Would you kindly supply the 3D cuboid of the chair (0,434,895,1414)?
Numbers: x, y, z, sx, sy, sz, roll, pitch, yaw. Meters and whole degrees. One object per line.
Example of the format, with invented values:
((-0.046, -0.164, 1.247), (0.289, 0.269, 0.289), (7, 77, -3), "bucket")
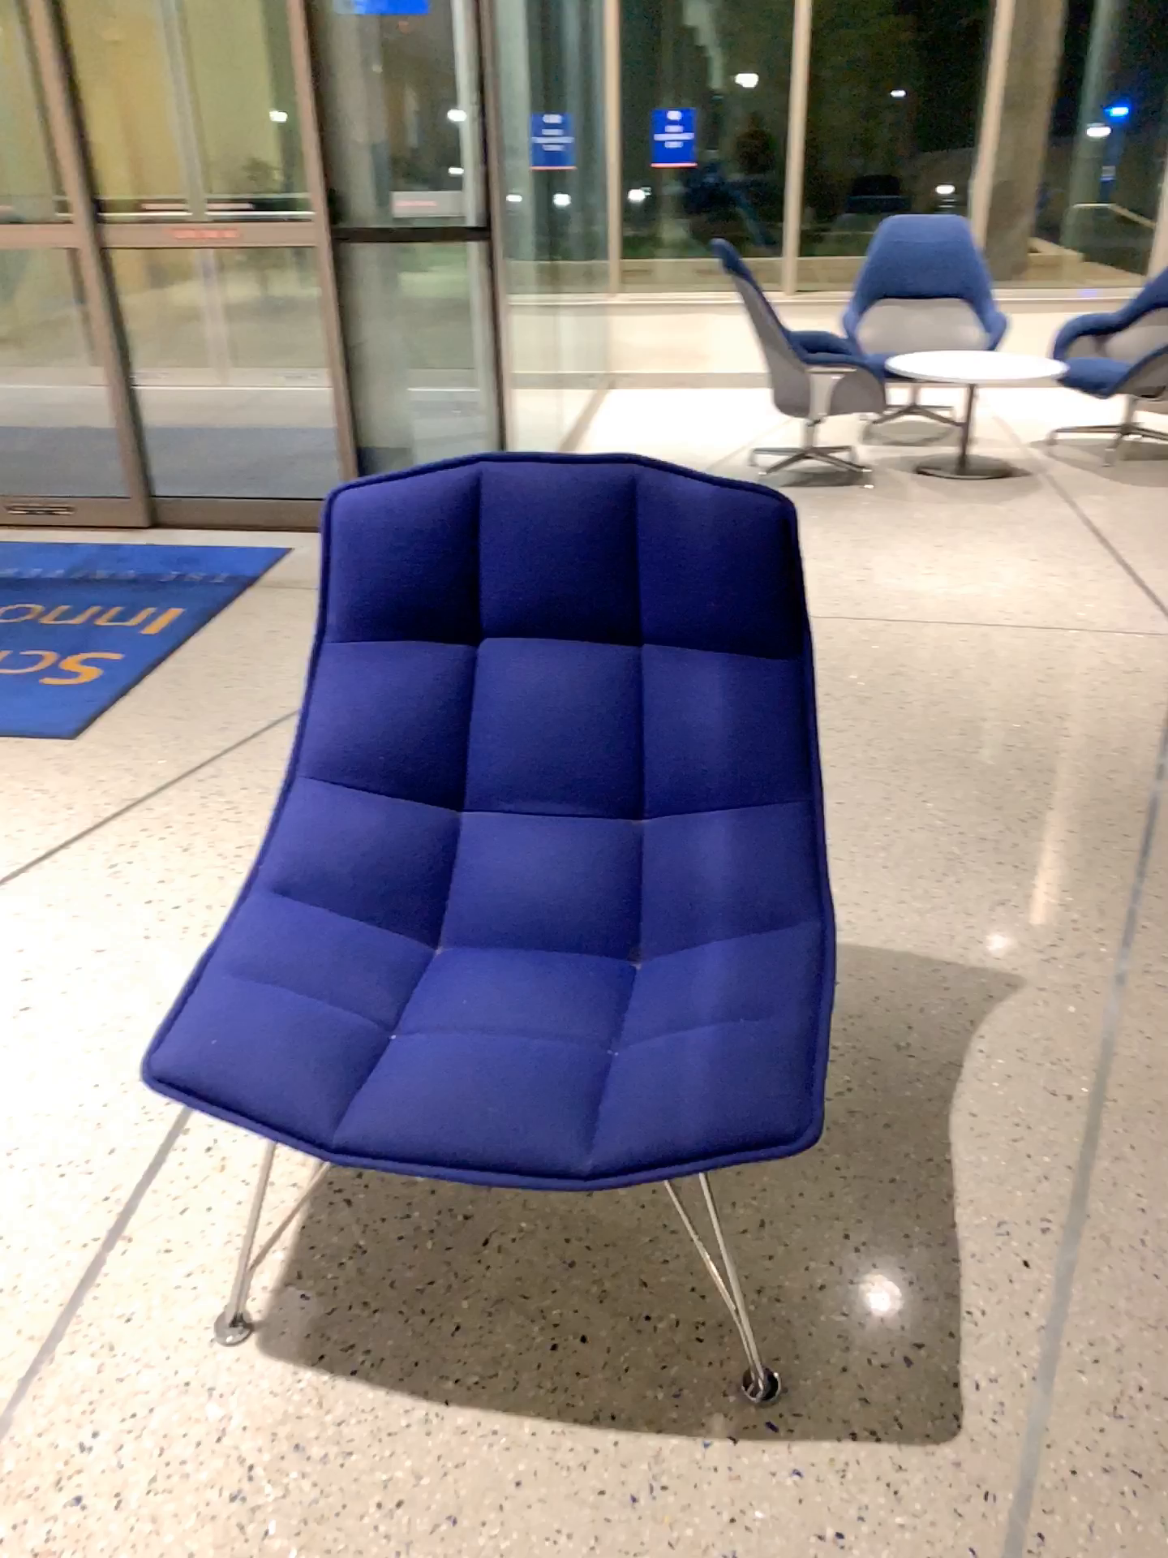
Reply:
((-0.089, 0.114, 1.554), (0.808, 0.933, 0.786), (3, 28, 8), "chair")

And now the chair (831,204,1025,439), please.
((1.577, -2.171, 5.616), (0.670, 0.942, 0.776), (2, 28, 6), "chair")

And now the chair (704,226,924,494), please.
((0.903, -1.757, 4.946), (0.770, 0.933, 0.806), (1, 28, 5), "chair")

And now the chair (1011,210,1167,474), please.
((2.490, -1.947, 5.250), (0.760, 0.972, 0.786), (-4, 28, -5), "chair")
